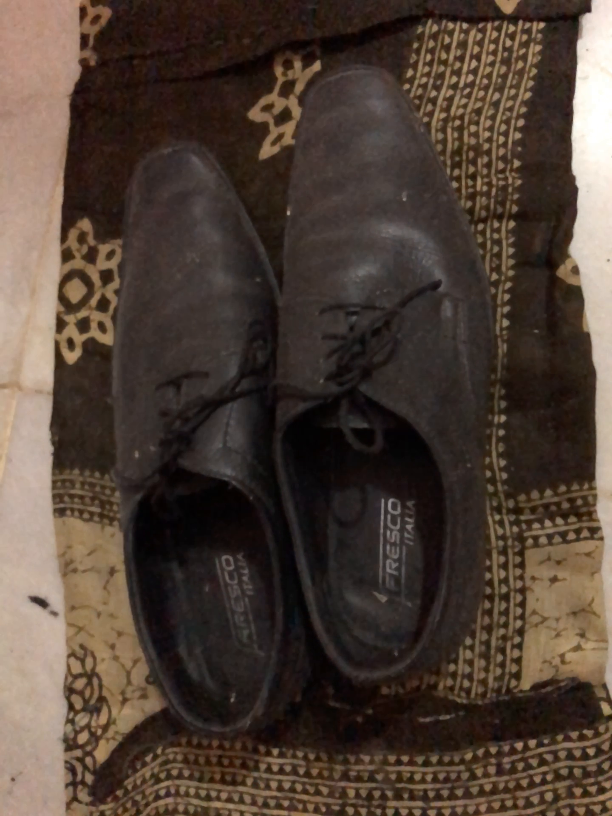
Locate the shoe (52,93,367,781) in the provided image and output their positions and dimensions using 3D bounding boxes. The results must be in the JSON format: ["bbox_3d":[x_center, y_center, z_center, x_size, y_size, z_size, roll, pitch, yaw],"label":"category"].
[{"bbox_3d":[-0.054,0.014,0.385,0.110,0.070,0.340,-11,83,13],"label":"shoe"}]

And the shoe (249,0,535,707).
[{"bbox_3d":[0.044,-0.031,0.360,0.110,0.070,0.340,-5,84,14],"label":"shoe"}]
